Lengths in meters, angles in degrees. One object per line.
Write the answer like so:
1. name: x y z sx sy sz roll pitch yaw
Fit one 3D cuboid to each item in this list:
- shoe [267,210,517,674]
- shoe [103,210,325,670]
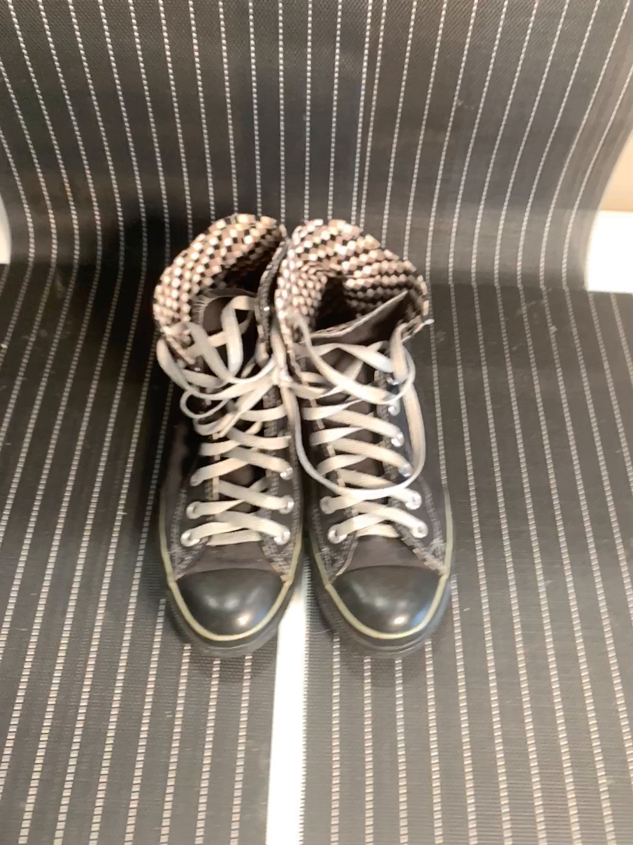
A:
1. shoe: 0.032 0.008 0.459 0.110 0.130 0.291 -4 61 -4
2. shoe: -0.054 0.008 0.454 0.110 0.130 0.291 0 61 -2
